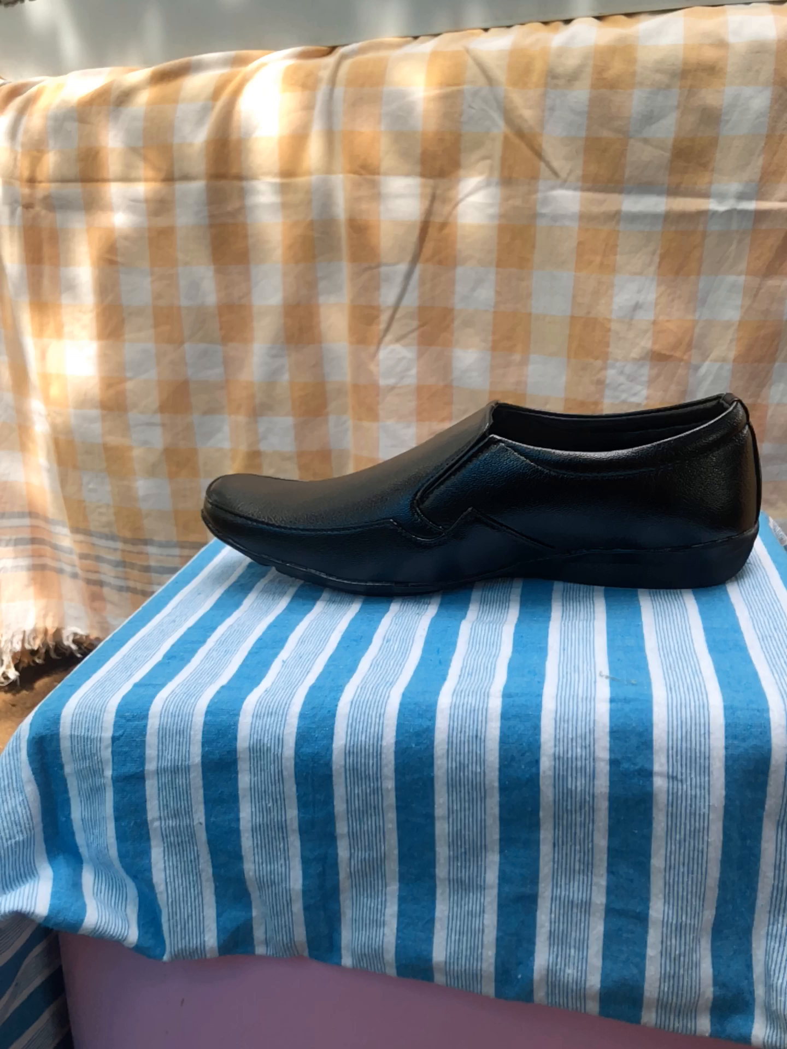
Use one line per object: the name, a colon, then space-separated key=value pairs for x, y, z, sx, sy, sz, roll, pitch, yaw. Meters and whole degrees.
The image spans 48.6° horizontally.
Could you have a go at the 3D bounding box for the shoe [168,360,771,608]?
shoe: x=0.040 y=-0.026 z=0.500 sx=0.300 sy=0.110 sz=0.100 roll=-1 pitch=19 yaw=5
